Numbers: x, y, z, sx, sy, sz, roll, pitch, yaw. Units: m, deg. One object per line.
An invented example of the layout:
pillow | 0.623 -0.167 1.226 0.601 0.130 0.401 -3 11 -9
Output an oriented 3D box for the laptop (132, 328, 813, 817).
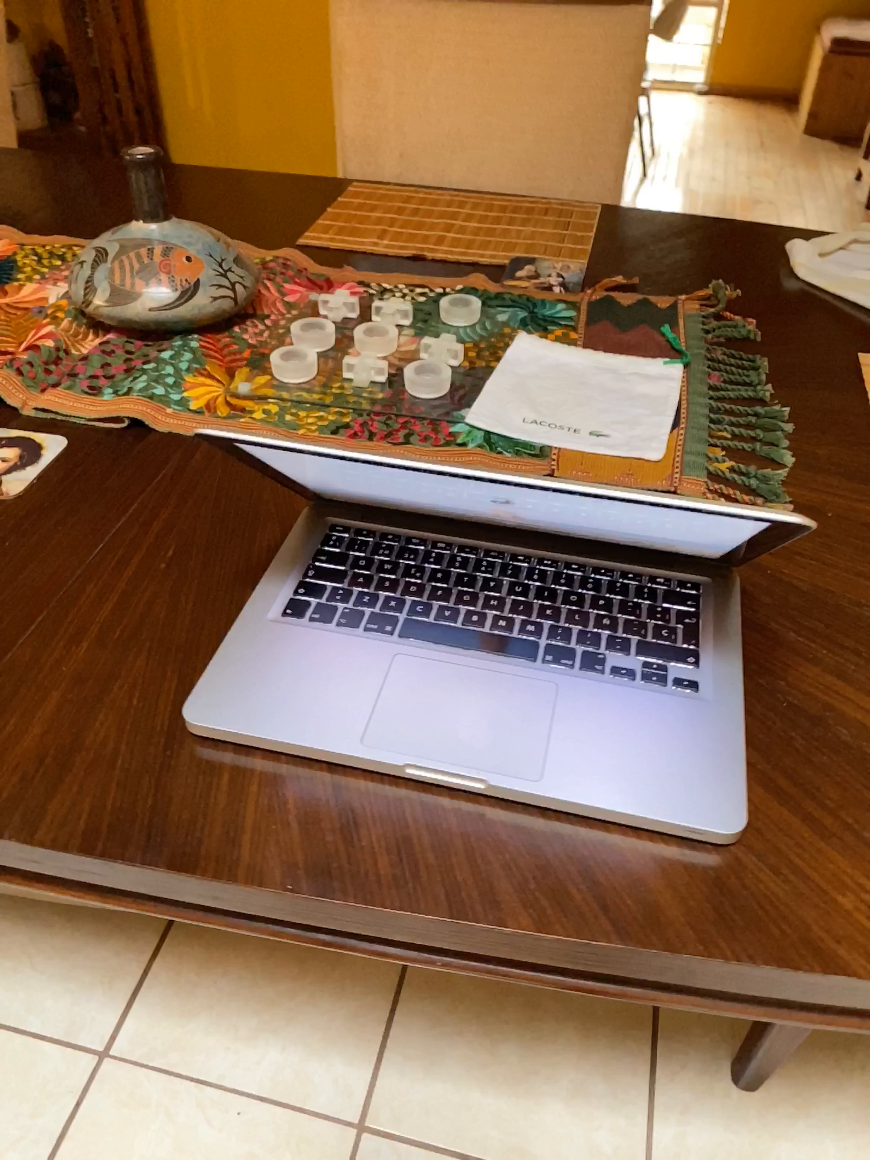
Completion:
laptop | 0.030 -0.019 0.542 0.321 0.152 0.214 9 41 8
